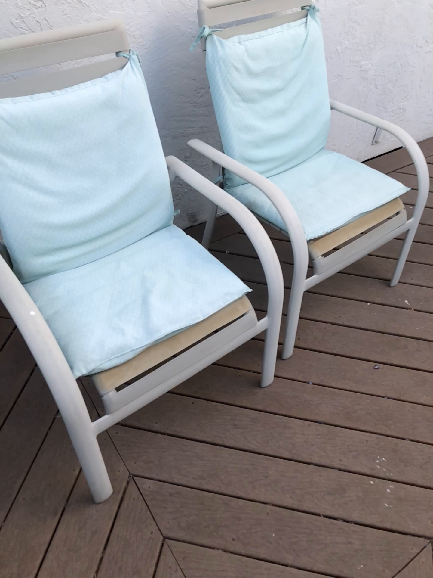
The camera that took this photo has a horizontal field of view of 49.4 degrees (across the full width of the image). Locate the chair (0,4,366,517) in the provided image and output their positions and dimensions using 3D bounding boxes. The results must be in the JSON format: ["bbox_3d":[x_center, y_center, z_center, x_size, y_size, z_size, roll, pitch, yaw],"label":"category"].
[{"bbox_3d":[-0.250,-0.089,1.304,0.702,0.965,0.782,-28,54,-27],"label":"chair"}]

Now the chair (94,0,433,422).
[{"bbox_3d":[0.185,-0.333,1.870,0.842,1.273,0.873,-28,54,-27],"label":"chair"}]
